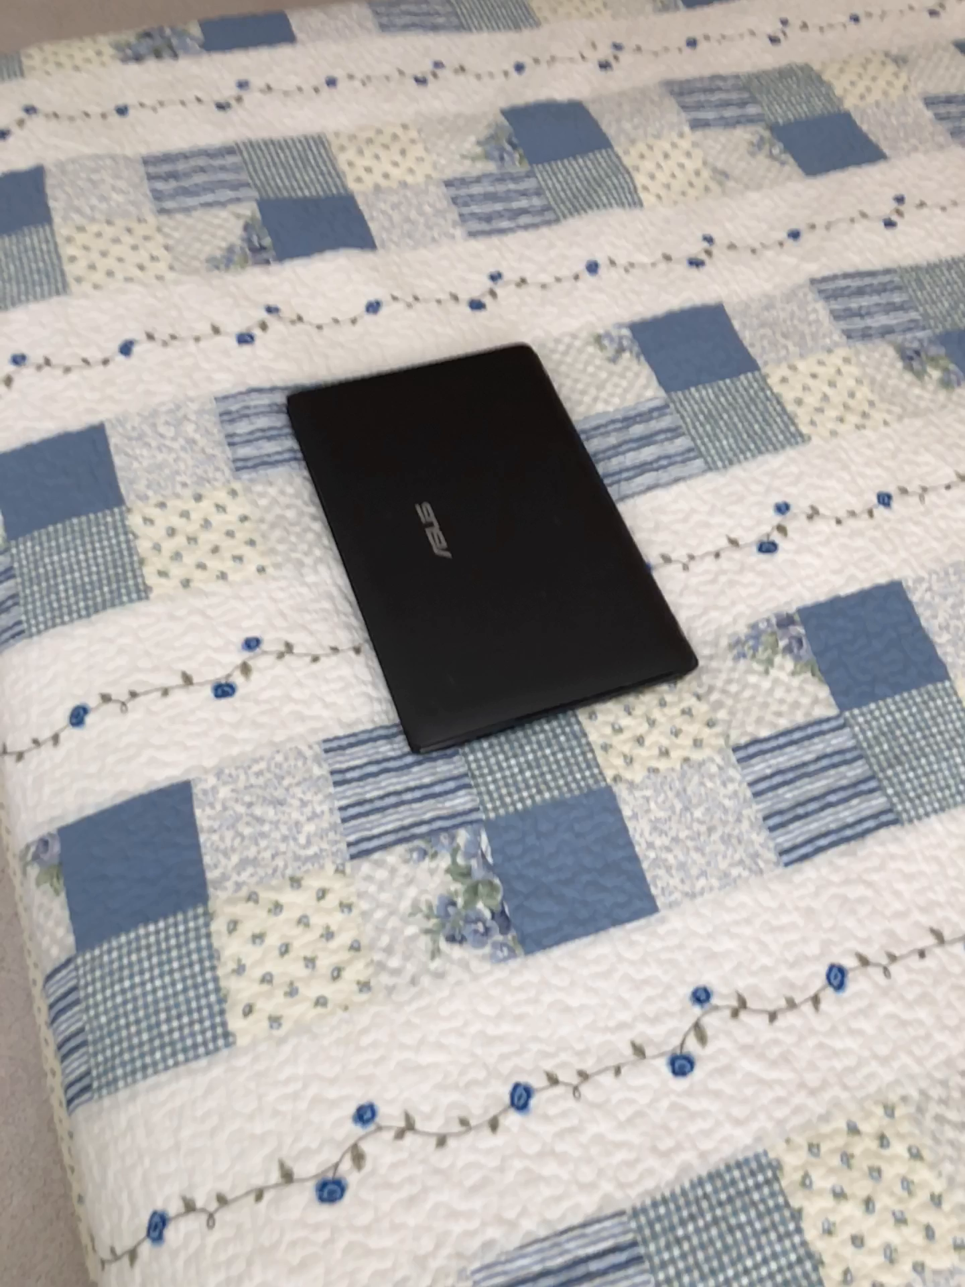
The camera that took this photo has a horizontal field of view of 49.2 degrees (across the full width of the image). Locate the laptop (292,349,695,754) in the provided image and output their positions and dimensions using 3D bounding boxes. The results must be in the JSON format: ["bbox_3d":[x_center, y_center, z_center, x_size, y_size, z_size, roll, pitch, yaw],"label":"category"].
[{"bbox_3d":[-0.002,-0.101,0.907,0.234,0.006,0.369,-16,61,-13],"label":"laptop"}]
